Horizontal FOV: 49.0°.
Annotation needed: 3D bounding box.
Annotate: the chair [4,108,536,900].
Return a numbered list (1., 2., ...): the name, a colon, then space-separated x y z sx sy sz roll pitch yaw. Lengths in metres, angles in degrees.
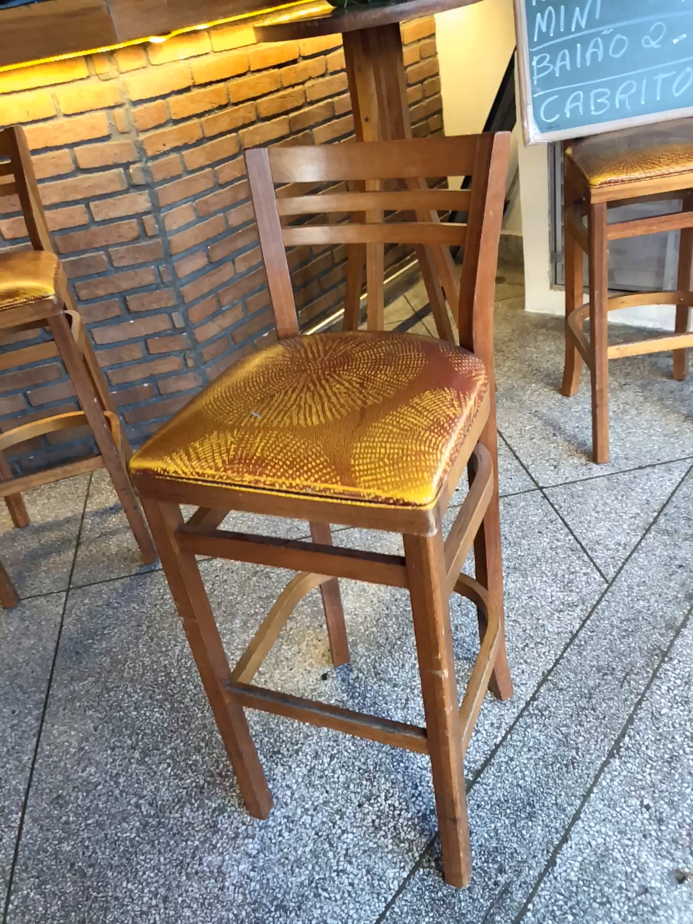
1. chair: 0.007 0.086 1.079 0.401 0.973 0.432 6 36 25
